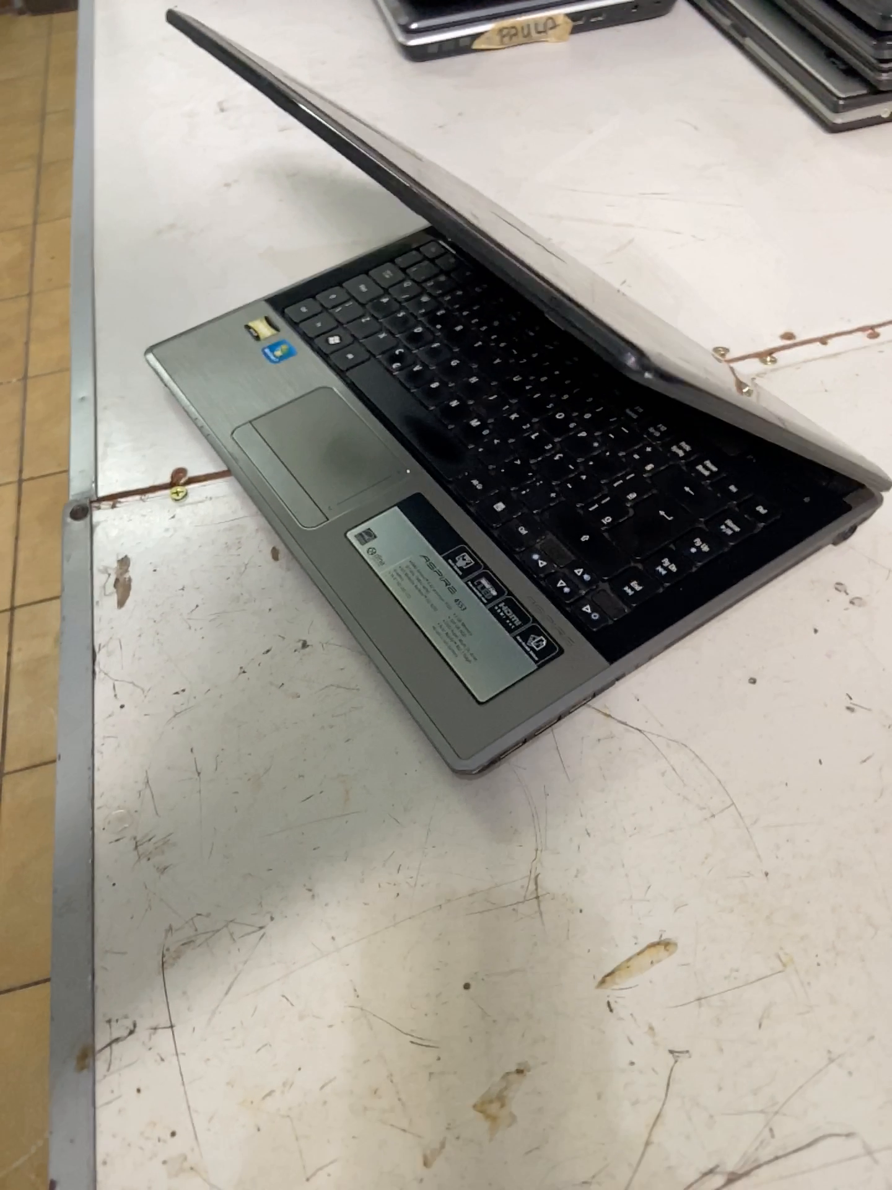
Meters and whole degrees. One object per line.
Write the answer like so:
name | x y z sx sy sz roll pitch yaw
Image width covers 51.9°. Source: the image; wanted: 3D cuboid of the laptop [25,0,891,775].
laptop | 0.002 -0.138 0.418 0.226 0.157 0.335 -30 55 -16
